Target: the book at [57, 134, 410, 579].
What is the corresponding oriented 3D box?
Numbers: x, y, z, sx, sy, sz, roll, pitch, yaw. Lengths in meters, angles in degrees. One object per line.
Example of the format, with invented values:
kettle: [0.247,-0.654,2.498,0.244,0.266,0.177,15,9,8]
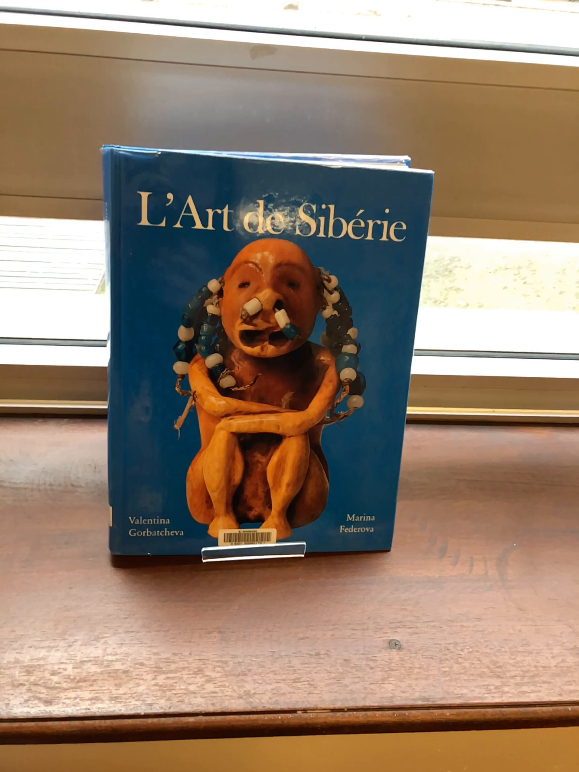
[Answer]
book: [-0.042,-0.015,0.528,0.254,0.349,0.044,-1,17,-10]
